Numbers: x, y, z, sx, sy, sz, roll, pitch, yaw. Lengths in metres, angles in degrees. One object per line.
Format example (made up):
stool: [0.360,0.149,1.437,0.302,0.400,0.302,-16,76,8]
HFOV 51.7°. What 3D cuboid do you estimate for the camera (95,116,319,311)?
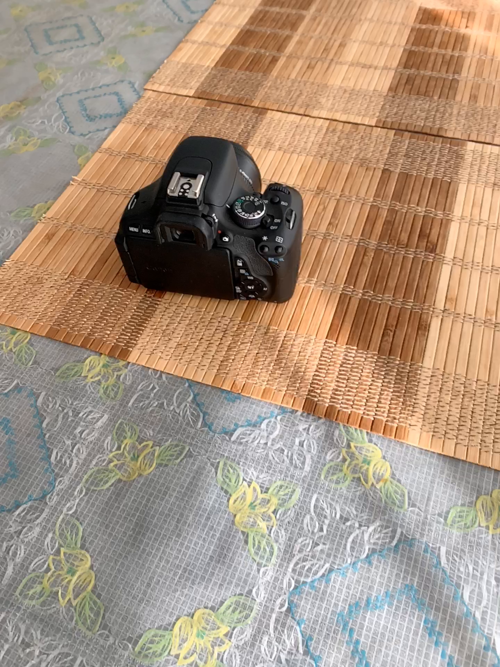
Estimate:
camera: [-0.024,-0.092,0.390,0.133,0.080,0.106,9,56,9]
